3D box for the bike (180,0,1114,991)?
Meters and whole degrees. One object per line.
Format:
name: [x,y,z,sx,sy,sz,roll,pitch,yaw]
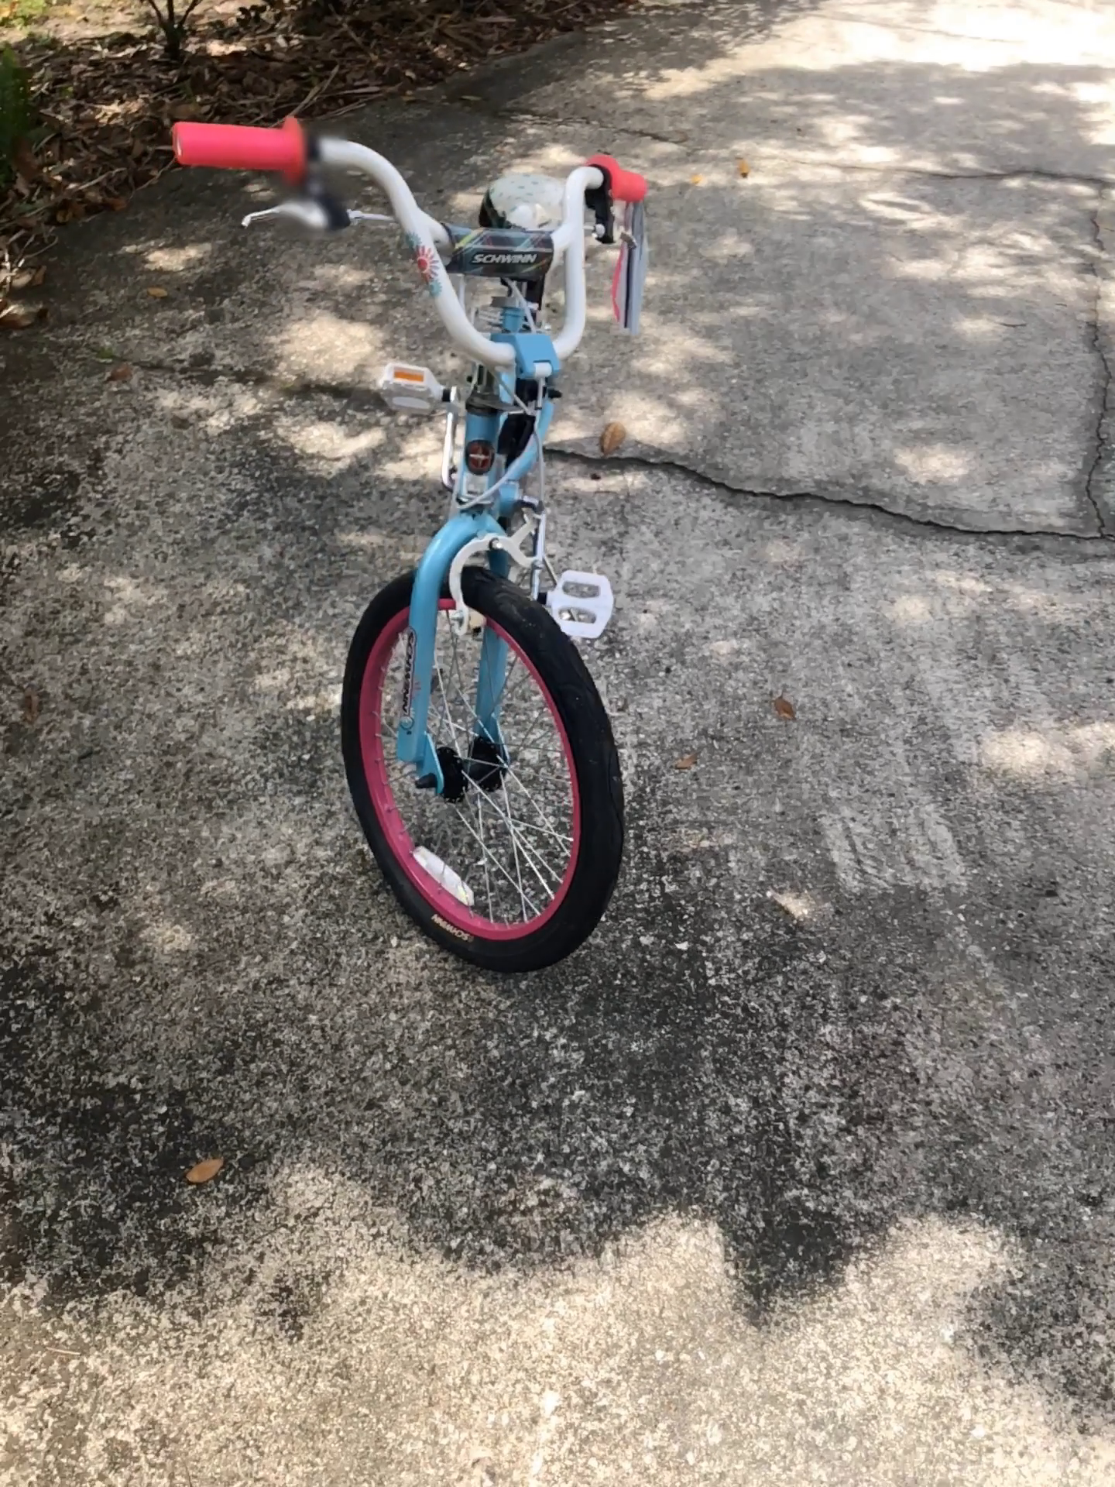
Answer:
bike: [0.038,-0.475,1.626,0.699,0.923,1.317,-4,44,-2]
